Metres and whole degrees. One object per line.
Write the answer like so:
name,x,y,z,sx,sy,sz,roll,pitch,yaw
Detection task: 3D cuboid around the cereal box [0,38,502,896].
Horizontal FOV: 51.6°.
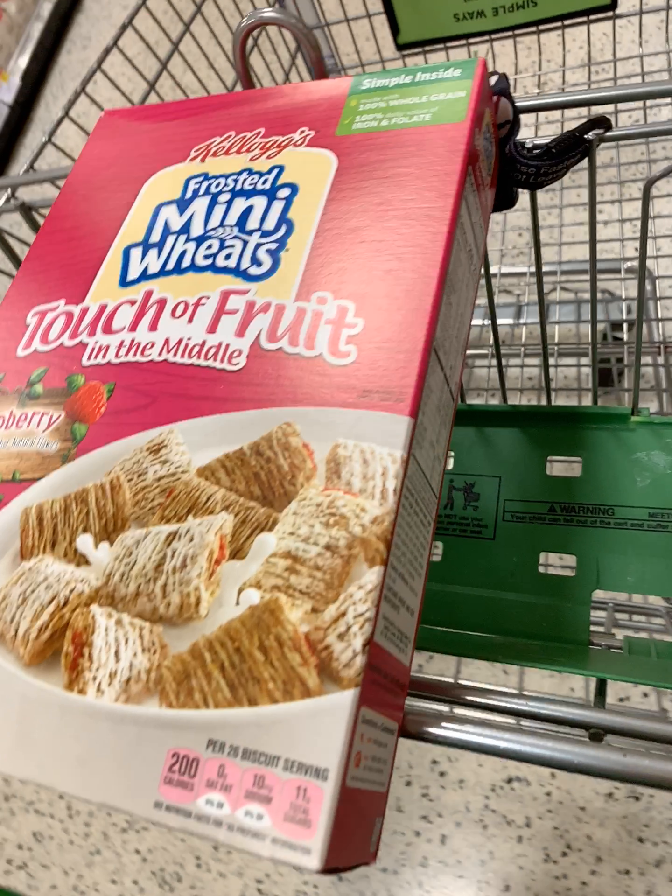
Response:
cereal box,-0.058,-0.023,0.267,0.200,0.050,0.292,4,65,22
